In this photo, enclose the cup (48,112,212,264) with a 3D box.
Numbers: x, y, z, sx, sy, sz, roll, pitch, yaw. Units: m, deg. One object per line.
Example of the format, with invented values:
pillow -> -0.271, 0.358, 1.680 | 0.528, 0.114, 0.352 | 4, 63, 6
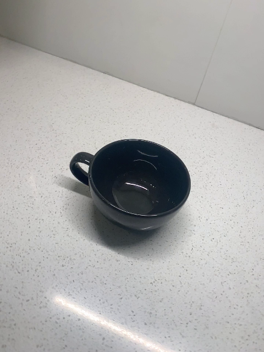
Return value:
cup -> 0.001, 0.006, 0.290 | 0.130, 0.060, 0.110 | 22, 49, 9
